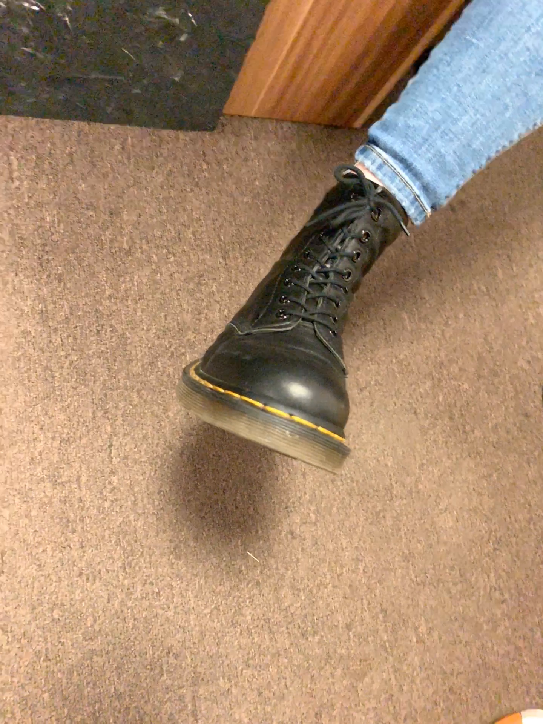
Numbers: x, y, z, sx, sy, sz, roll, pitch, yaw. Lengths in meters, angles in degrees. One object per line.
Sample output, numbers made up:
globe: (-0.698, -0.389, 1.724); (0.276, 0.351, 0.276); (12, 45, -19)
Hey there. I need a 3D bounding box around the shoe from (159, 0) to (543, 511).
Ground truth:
shoe: (0.028, -0.085, 0.446); (0.120, 0.370, 0.230); (30, 95, -13)
